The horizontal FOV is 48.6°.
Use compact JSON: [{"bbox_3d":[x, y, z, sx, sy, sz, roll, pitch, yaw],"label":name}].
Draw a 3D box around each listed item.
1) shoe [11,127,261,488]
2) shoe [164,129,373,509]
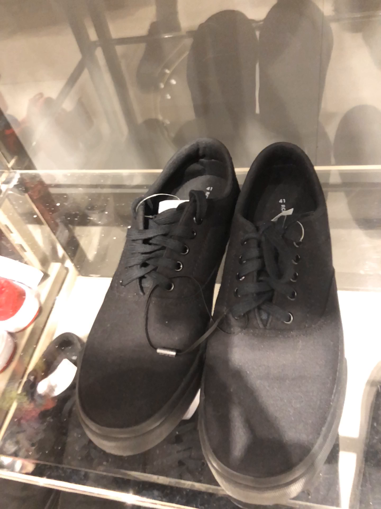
[{"bbox_3d":[-0.018,0.023,0.405,0.110,0.109,0.321,6,54,18],"label":"shoe"},{"bbox_3d":[0.078,0.039,0.361,0.110,0.109,0.322,2,53,15],"label":"shoe"}]
